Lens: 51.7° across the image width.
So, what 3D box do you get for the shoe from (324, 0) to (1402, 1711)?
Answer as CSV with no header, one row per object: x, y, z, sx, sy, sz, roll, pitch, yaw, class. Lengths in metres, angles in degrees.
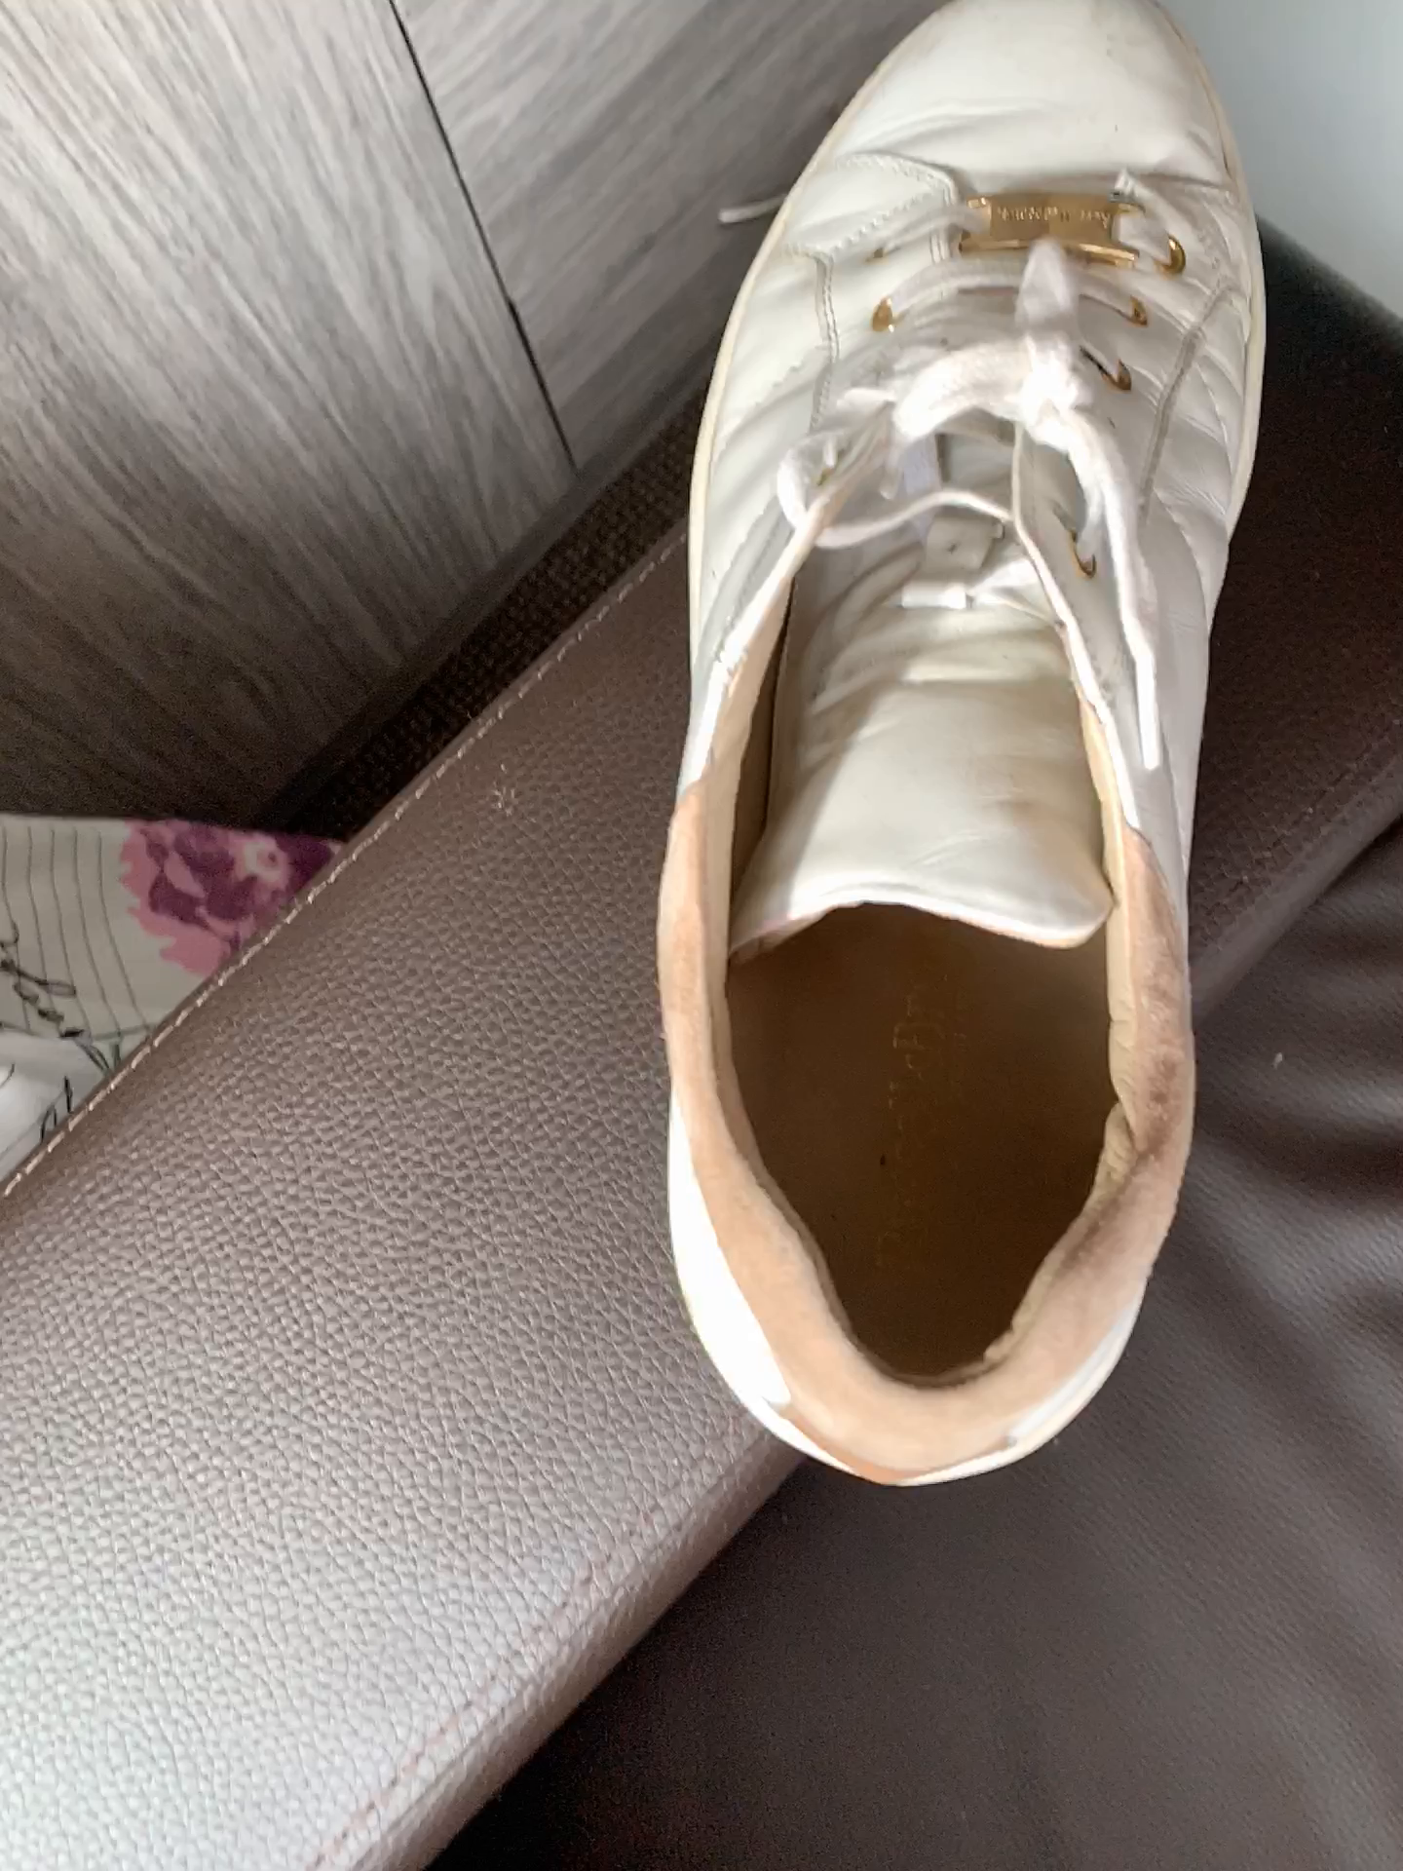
0.041,-0.060,0.210,0.110,0.110,0.271,5,78,7,shoe
